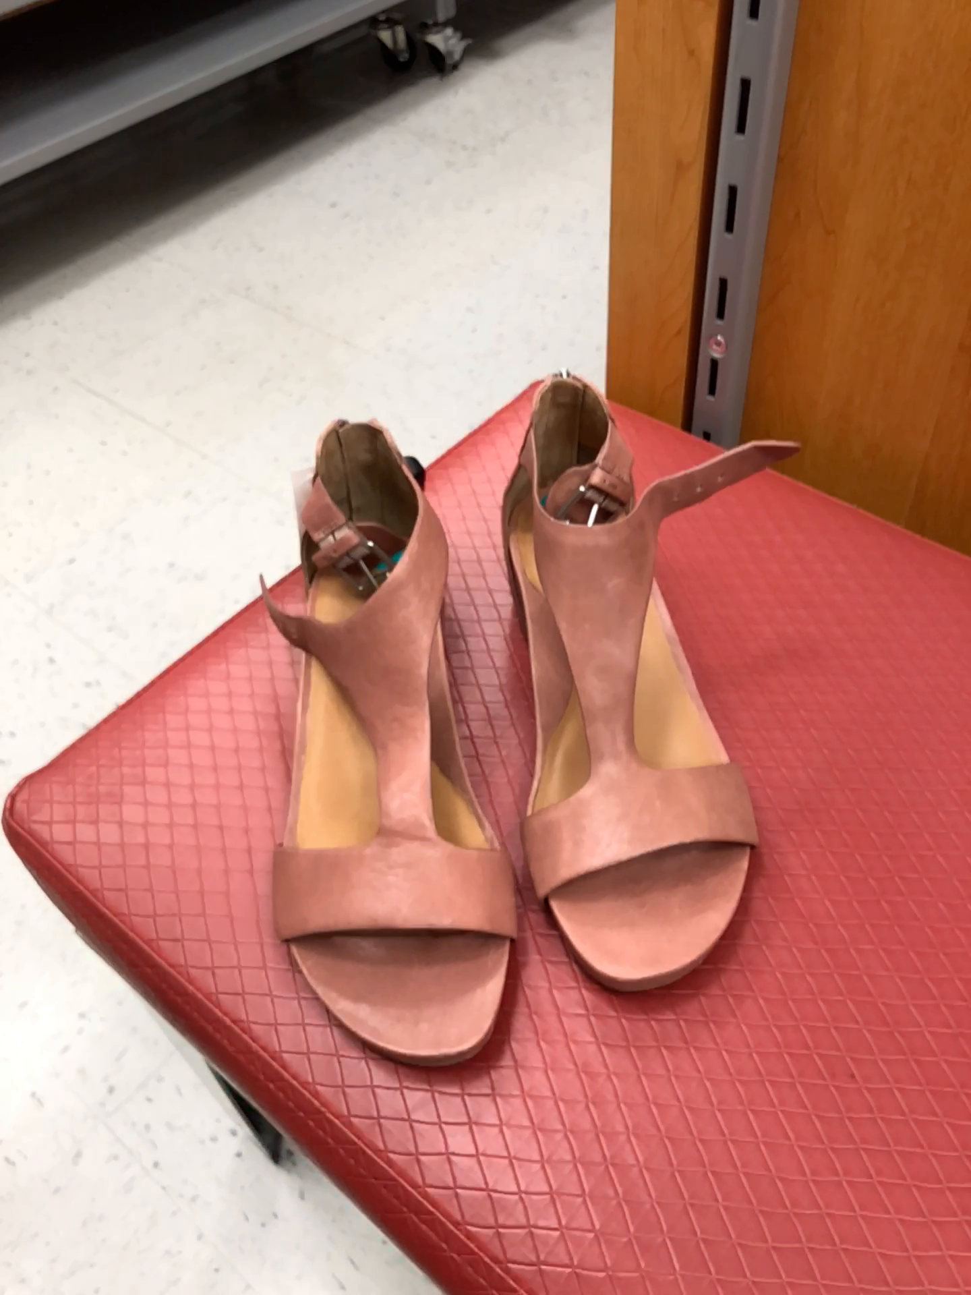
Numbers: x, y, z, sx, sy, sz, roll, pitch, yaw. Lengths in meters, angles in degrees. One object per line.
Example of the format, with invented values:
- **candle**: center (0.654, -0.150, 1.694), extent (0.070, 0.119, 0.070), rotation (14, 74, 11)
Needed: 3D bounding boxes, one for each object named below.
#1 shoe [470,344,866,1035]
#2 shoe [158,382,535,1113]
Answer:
- **shoe**: center (0.056, 0.004, 0.445), extent (0.105, 0.116, 0.261), rotation (-5, 49, 1)
- **shoe**: center (-0.043, 0.028, 0.439), extent (0.103, 0.126, 0.264), rotation (-5, 49, 1)
